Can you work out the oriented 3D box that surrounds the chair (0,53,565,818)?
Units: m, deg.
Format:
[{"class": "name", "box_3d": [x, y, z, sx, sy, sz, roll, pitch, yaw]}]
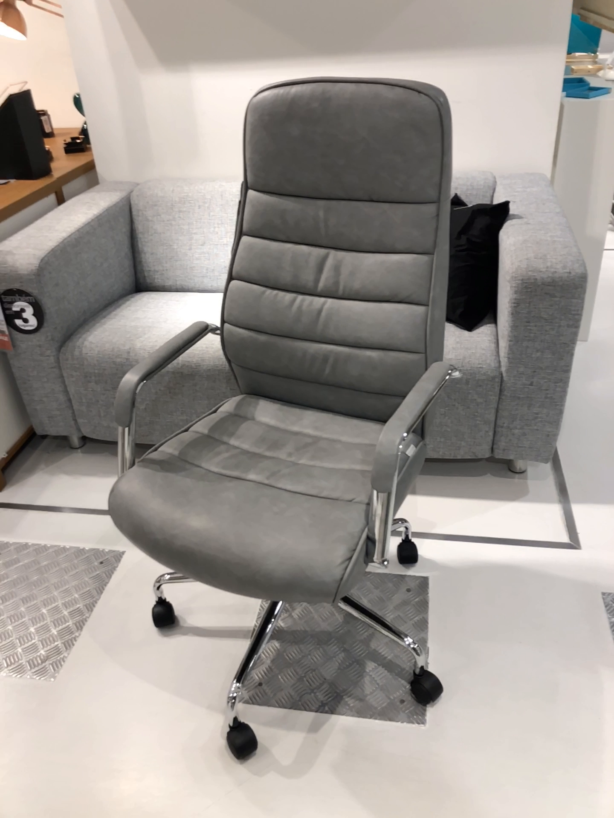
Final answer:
[{"class": "chair", "box_3d": [-0.035, -0.012, 1.231, 0.721, 1.052, 0.725, 12, 35, 23]}]
